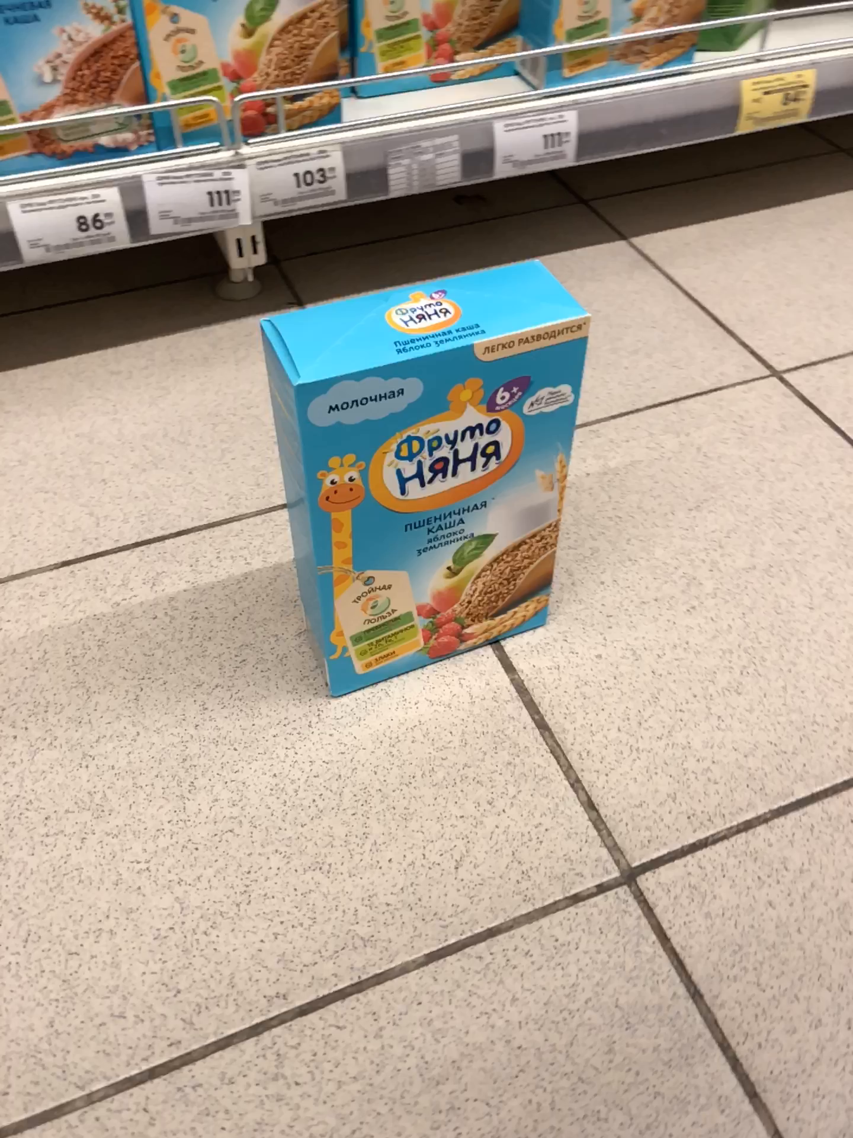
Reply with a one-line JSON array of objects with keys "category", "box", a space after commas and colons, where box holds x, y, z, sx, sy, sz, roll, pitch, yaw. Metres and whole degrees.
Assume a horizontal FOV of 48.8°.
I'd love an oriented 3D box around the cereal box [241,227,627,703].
[{"category": "cereal box", "box": [0.003, -0.040, 0.443, 0.140, 0.199, 0.060, -17, 49, -16]}]
